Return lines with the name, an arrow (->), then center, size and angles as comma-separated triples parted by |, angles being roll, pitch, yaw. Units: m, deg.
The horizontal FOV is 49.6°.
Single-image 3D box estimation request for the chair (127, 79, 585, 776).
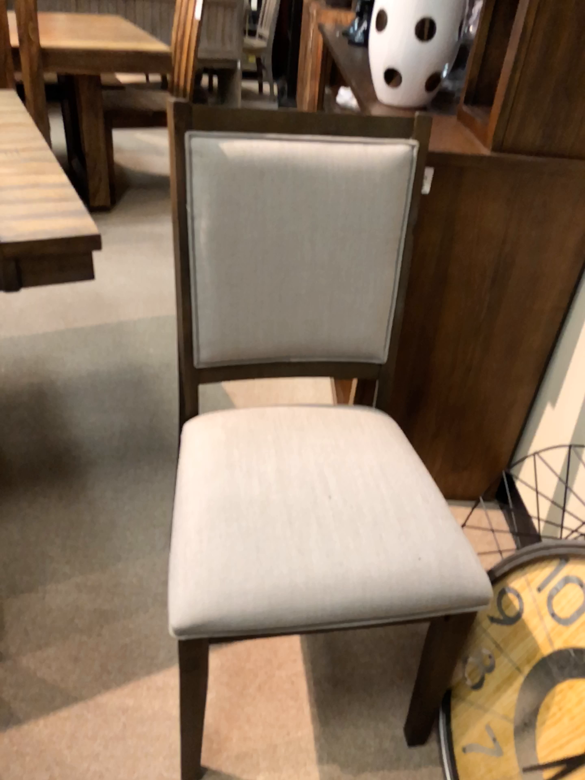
chair -> 0.018, 0.083, 0.982 | 0.460, 0.924, 0.493 | -2, 35, -11
